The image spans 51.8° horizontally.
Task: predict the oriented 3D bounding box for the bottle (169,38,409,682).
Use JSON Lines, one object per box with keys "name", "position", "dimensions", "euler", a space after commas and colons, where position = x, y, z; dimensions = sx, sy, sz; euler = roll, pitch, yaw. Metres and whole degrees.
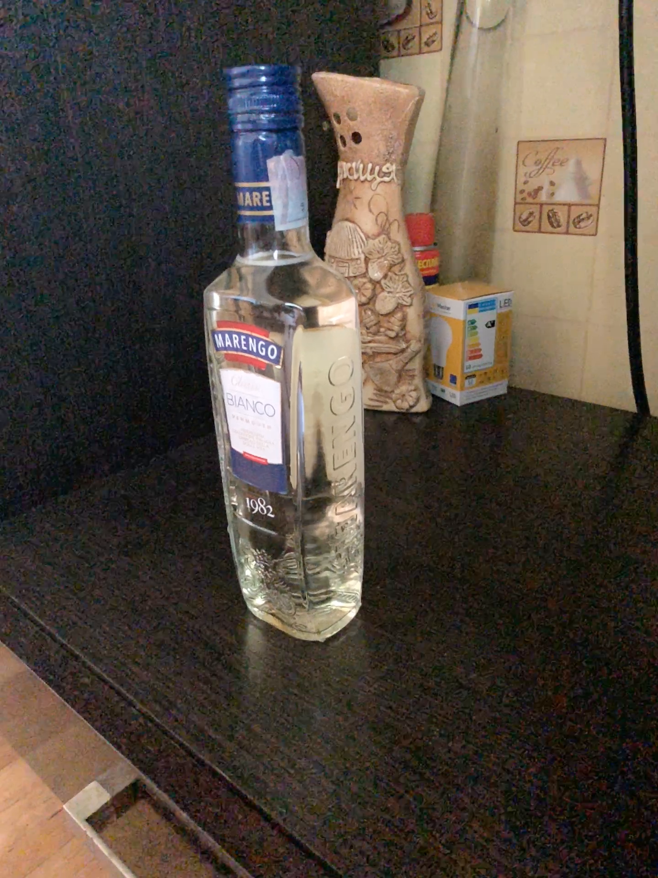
{"name": "bottle", "position": [-0.012, -0.026, 0.337], "dimensions": [0.090, 0.289, 0.050], "euler": [17, 31, 38]}
